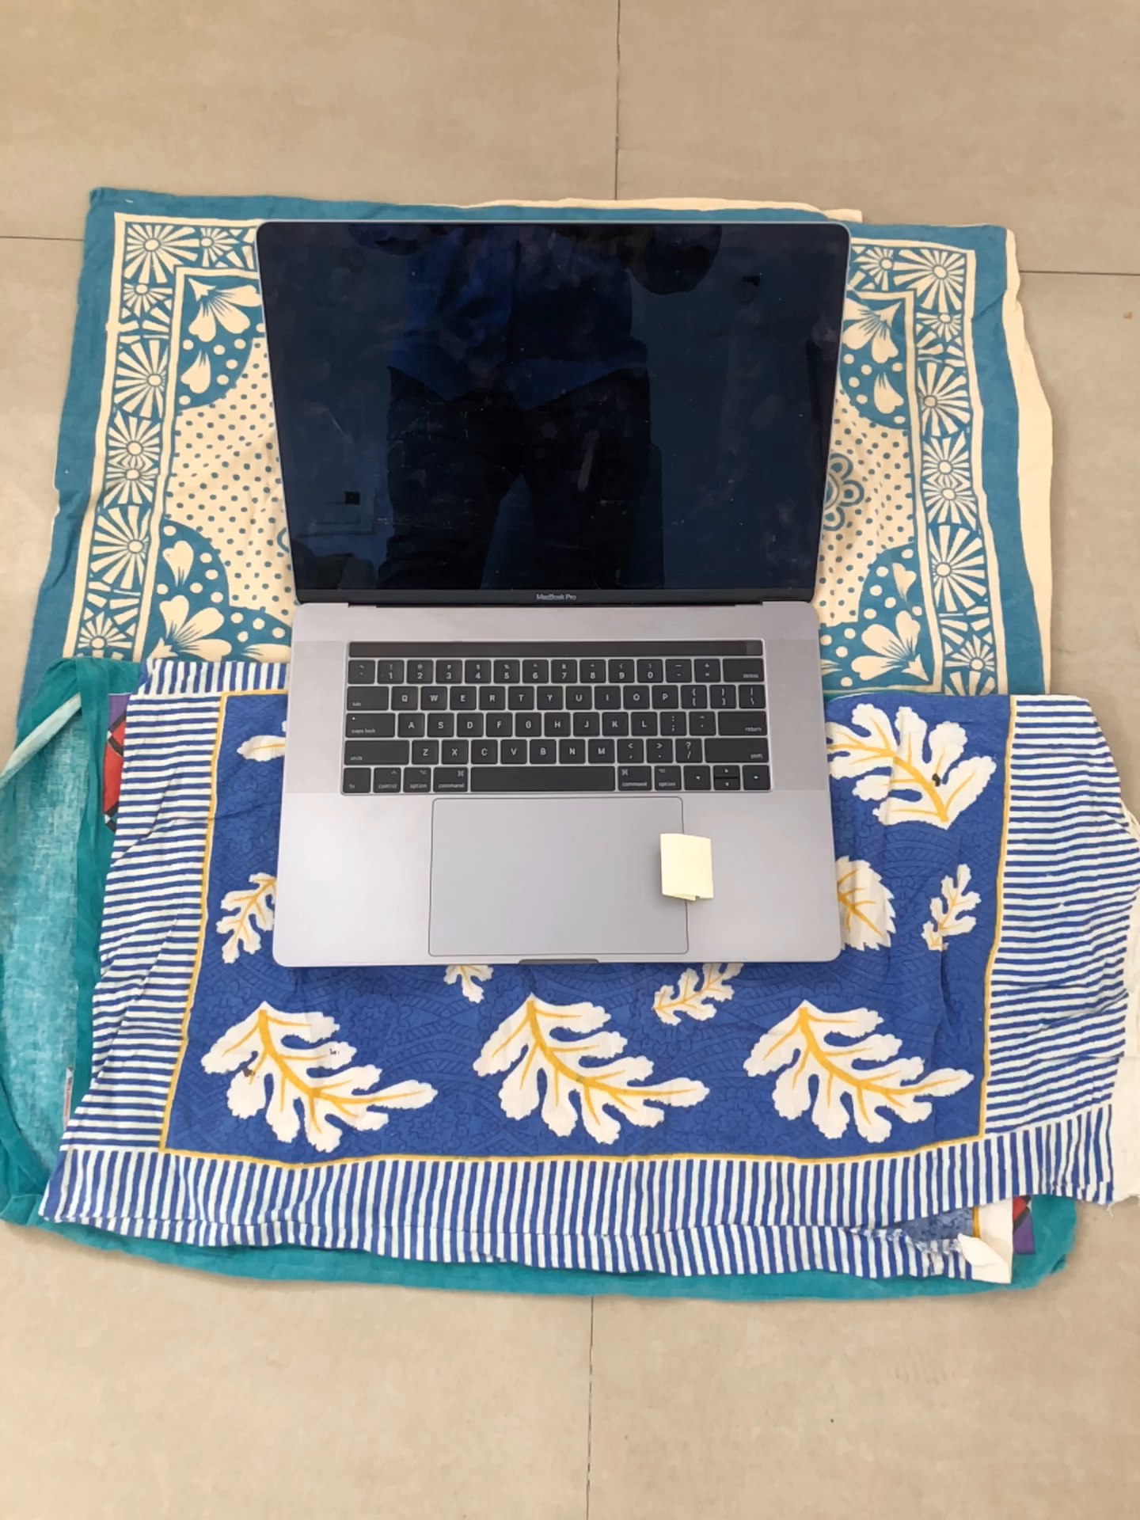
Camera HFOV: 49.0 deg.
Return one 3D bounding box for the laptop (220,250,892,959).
[{"bbox_3d":[-0.009,-0.089,0.743,0.336,0.132,0.401,0,75,-2],"label":"laptop"}]
